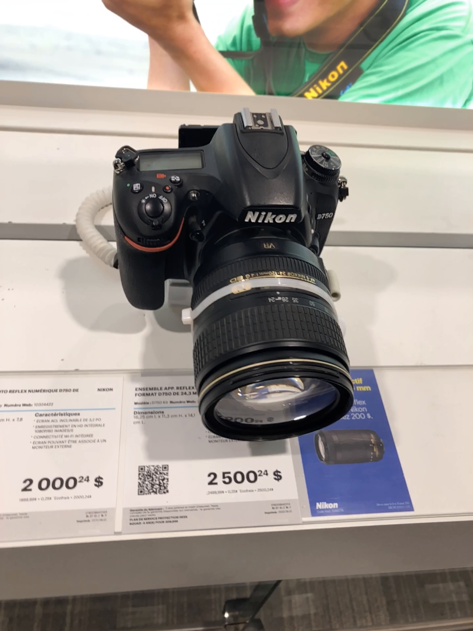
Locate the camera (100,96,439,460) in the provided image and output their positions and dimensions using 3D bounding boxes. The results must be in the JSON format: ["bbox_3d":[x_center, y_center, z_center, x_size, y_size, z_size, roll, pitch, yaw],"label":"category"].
[{"bbox_3d":[-0.001,-0.030,0.304,0.138,0.099,0.184,-2,51,-10],"label":"camera"}]
